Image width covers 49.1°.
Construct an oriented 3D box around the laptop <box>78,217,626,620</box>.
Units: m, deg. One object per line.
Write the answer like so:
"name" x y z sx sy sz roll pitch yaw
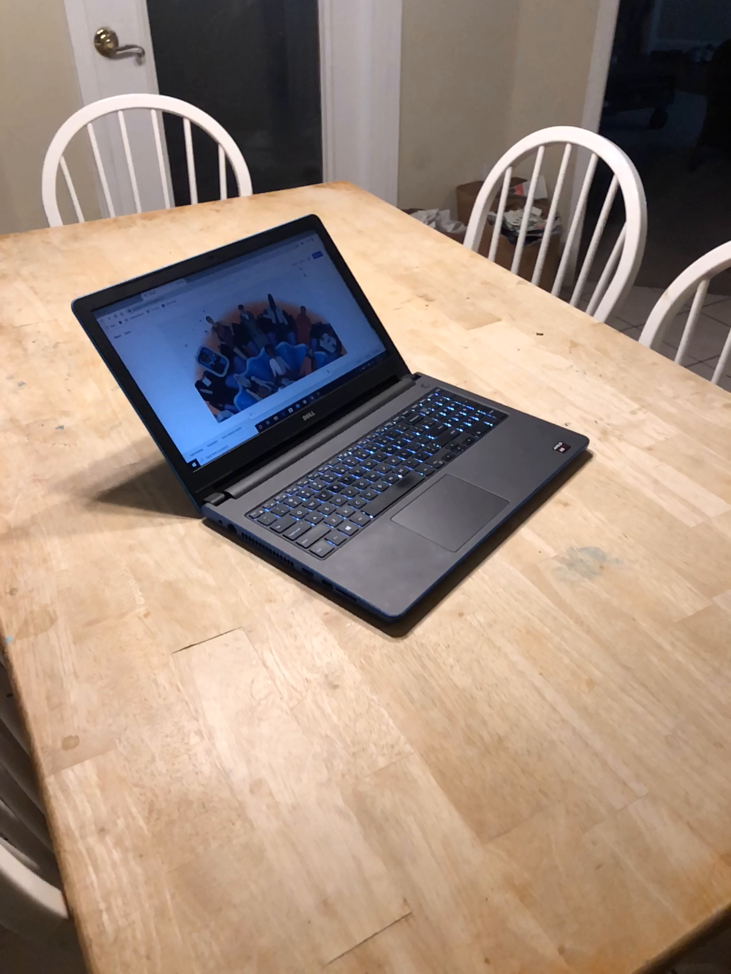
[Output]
"laptop" -0.011 -0.117 0.866 0.419 0.174 0.368 25 43 30
